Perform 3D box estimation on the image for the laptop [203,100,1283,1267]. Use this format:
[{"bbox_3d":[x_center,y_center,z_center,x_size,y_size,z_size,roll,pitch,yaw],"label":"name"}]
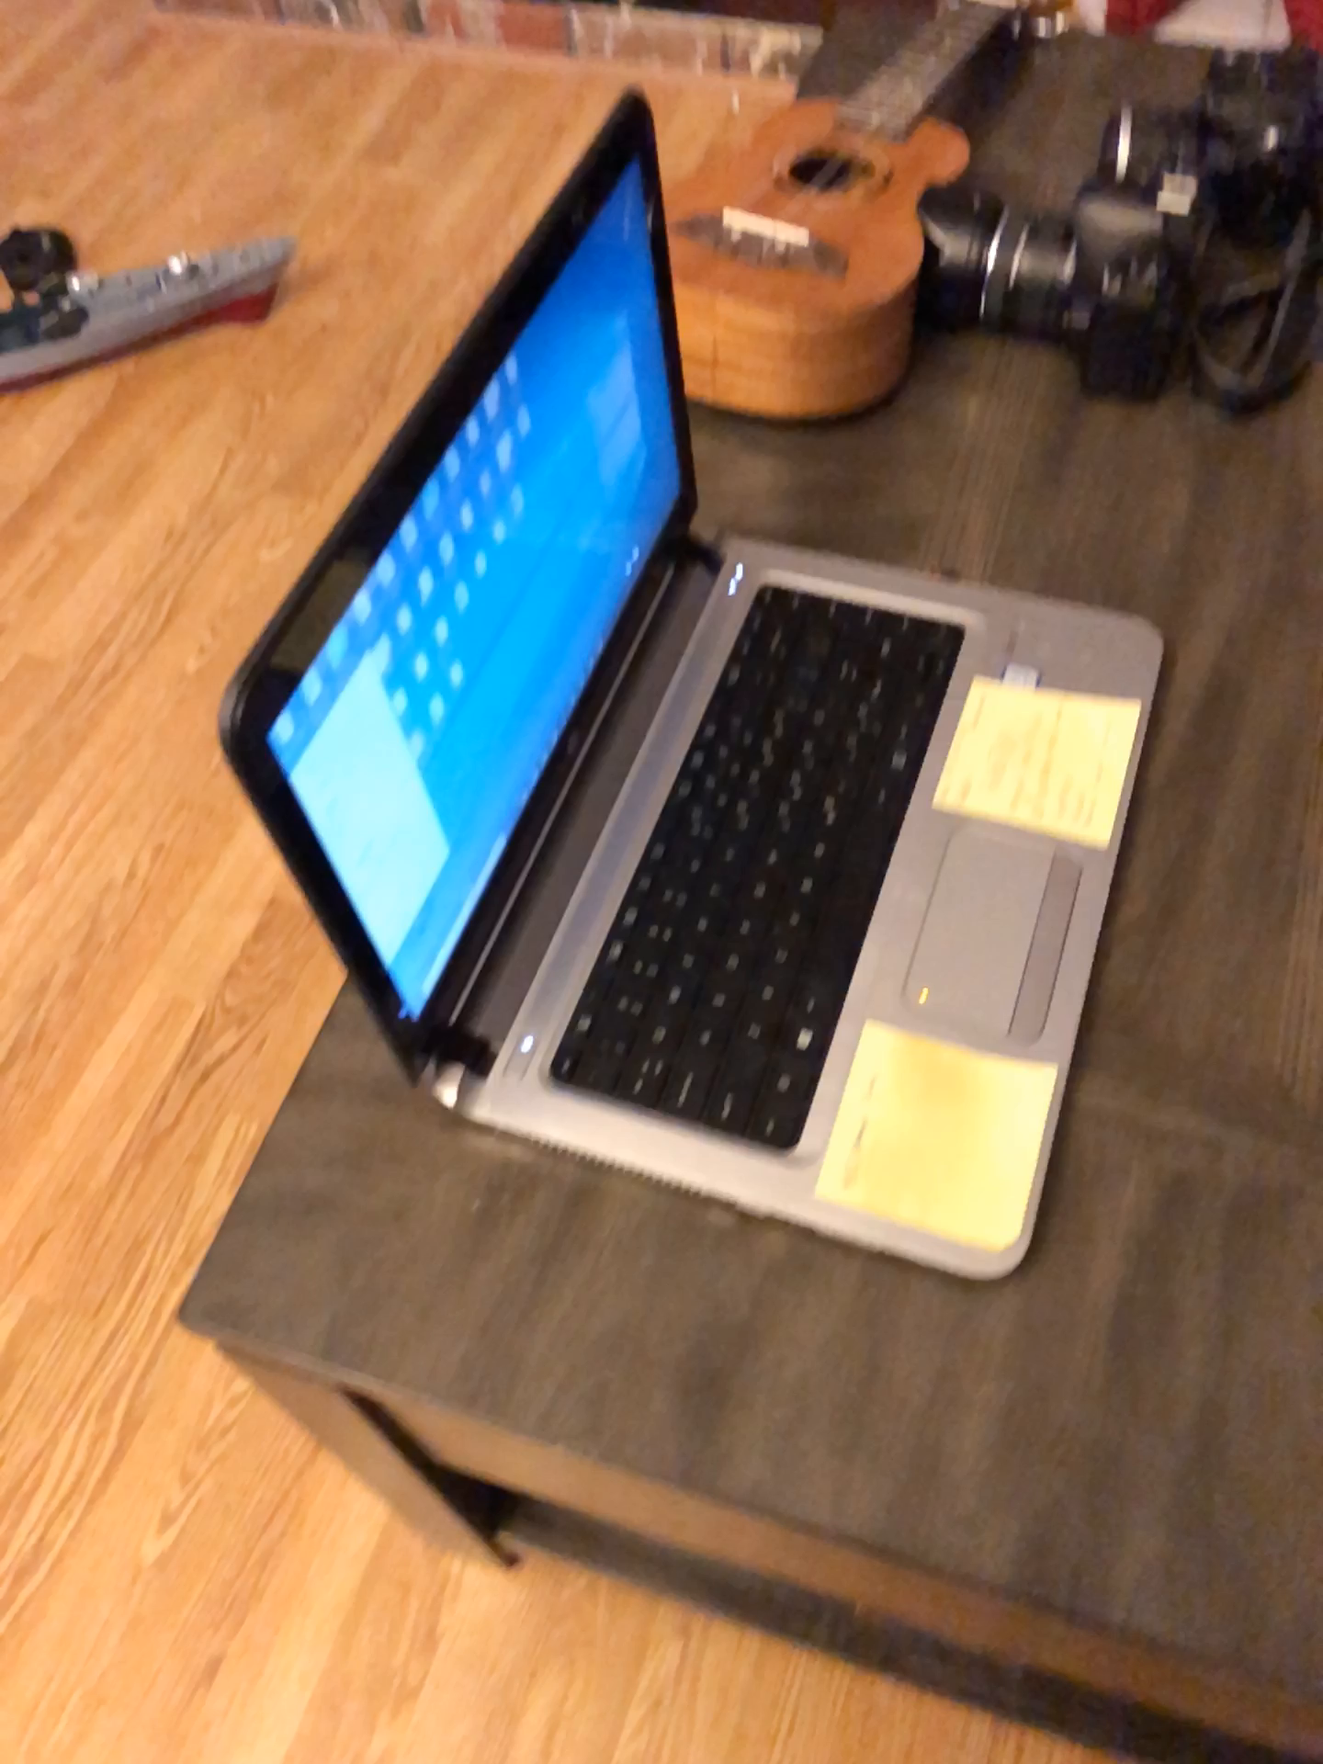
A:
[{"bbox_3d":[0.052,-0.080,0.533,0.246,0.217,0.318,15,58,12],"label":"laptop"}]
